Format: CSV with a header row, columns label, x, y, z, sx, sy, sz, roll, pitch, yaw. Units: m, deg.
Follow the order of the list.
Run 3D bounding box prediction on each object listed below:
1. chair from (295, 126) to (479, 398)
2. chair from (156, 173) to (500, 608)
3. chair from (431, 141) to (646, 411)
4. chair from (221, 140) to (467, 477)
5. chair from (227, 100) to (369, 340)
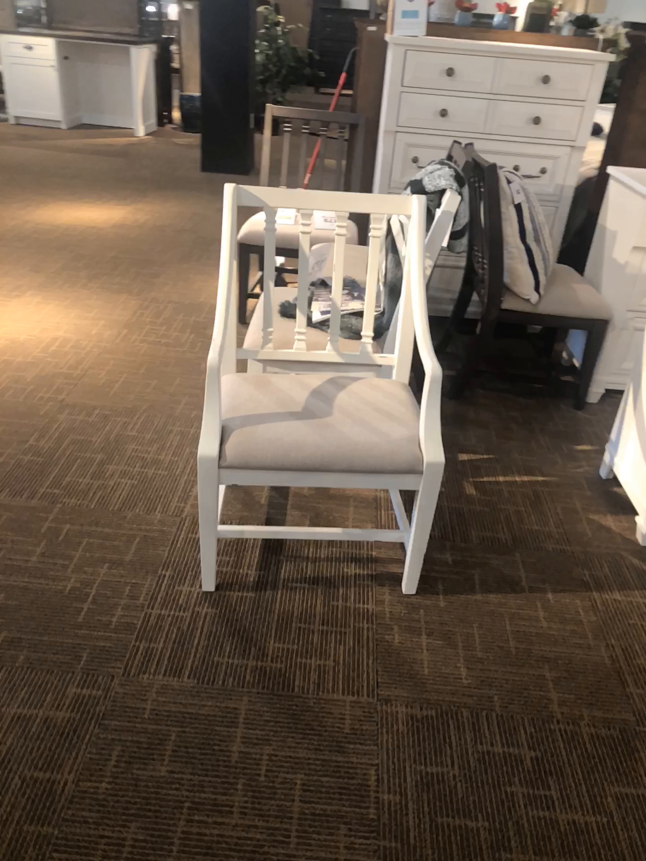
label,x,y,z,sx,sy,sz,roll,pitch,yaw
chair,0.229,-0.709,2.899,0.580,0.885,0.684,5,30,1
chair,-0.014,-0.117,1.823,0.650,0.885,0.633,4,30,-1
chair,0.860,-0.712,3.096,0.600,0.885,0.875,6,30,2
chair,0.042,-0.405,2.294,0.640,0.885,0.563,5,30,1
chair,-0.121,-1.026,3.415,0.540,0.955,0.603,7,30,5
